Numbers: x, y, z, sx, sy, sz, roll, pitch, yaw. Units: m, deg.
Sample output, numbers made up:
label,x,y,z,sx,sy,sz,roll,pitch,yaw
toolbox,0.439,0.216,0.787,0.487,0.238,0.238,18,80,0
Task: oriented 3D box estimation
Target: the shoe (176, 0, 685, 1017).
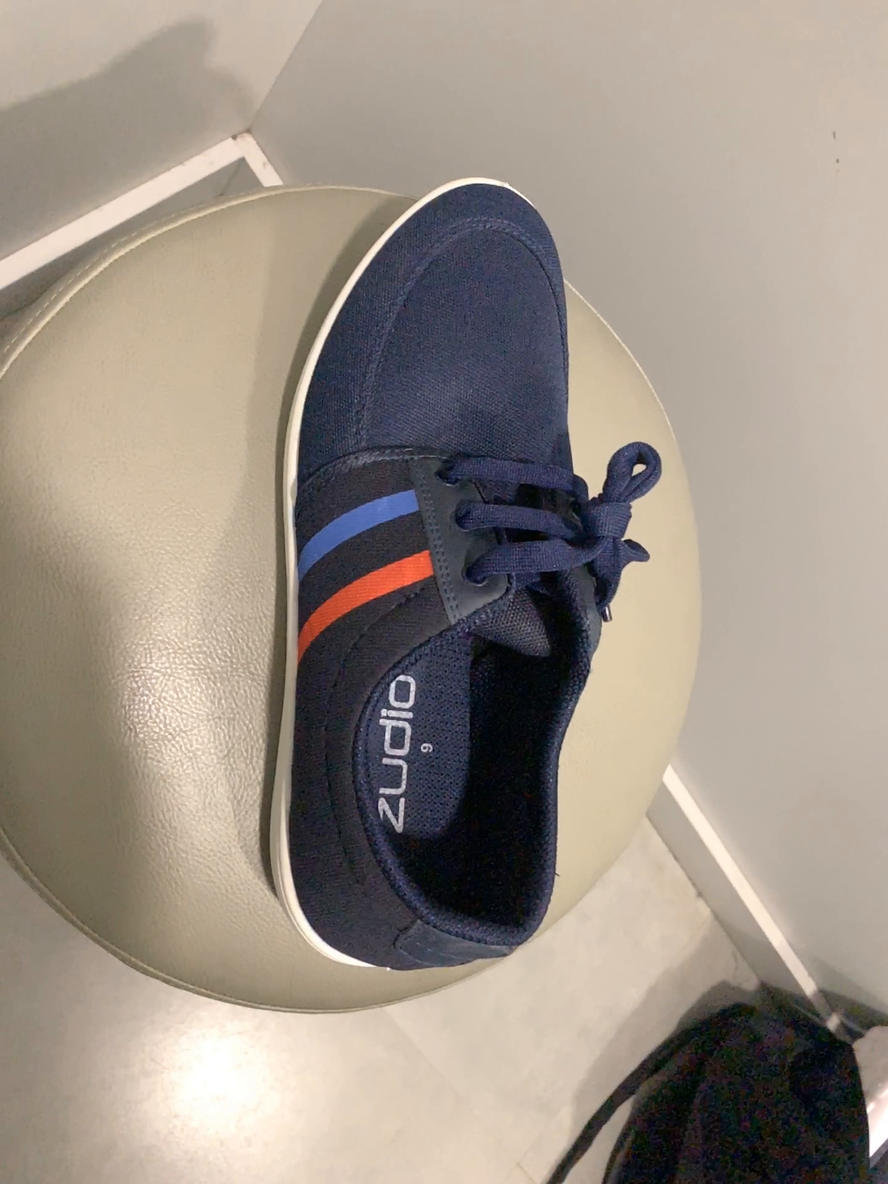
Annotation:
label,x,y,z,sx,sy,sz,roll,pitch,yaw
shoe,-0.006,-0.027,0.310,0.100,0.100,0.290,11,83,-27
